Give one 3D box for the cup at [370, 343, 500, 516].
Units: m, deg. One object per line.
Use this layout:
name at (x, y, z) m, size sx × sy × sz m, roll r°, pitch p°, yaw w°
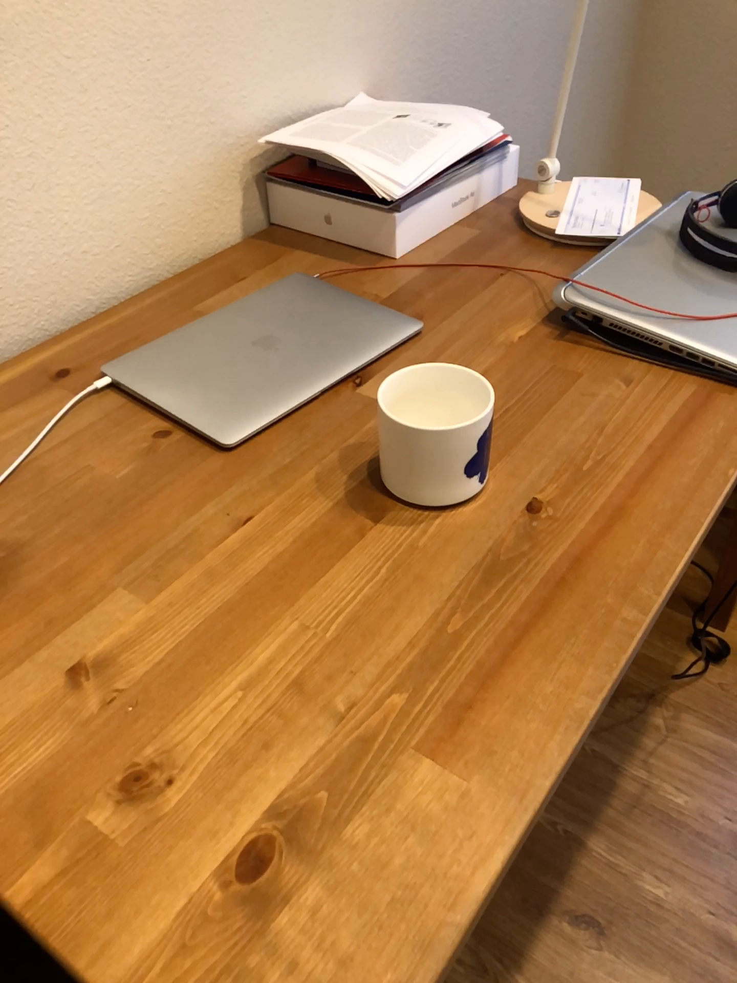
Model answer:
cup at (0.058, -0.056, 0.709) m, size 0.100 × 0.090 × 0.131 m, roll 1°, pitch 40°, yaw 5°
